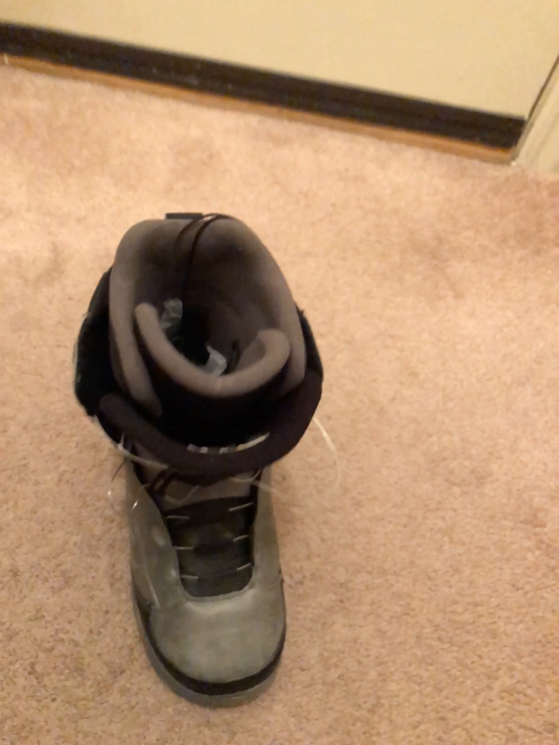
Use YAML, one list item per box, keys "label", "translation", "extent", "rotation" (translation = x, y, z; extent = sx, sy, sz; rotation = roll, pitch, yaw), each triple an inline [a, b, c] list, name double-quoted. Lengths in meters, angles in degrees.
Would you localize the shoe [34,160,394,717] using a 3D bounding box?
- label: "shoe"
  translation: [-0.058, 0.060, 0.427]
  extent: [0.137, 0.282, 0.274]
  rotation: [-4, 57, -10]
